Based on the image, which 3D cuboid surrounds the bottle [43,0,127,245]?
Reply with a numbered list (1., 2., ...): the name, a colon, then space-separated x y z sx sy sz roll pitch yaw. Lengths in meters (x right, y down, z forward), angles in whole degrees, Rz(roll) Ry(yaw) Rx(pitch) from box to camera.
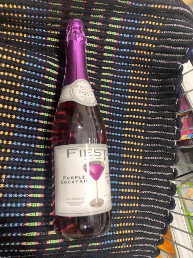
1. bottle: -0.029 -0.032 0.292 0.080 0.080 0.330 2 75 -24
